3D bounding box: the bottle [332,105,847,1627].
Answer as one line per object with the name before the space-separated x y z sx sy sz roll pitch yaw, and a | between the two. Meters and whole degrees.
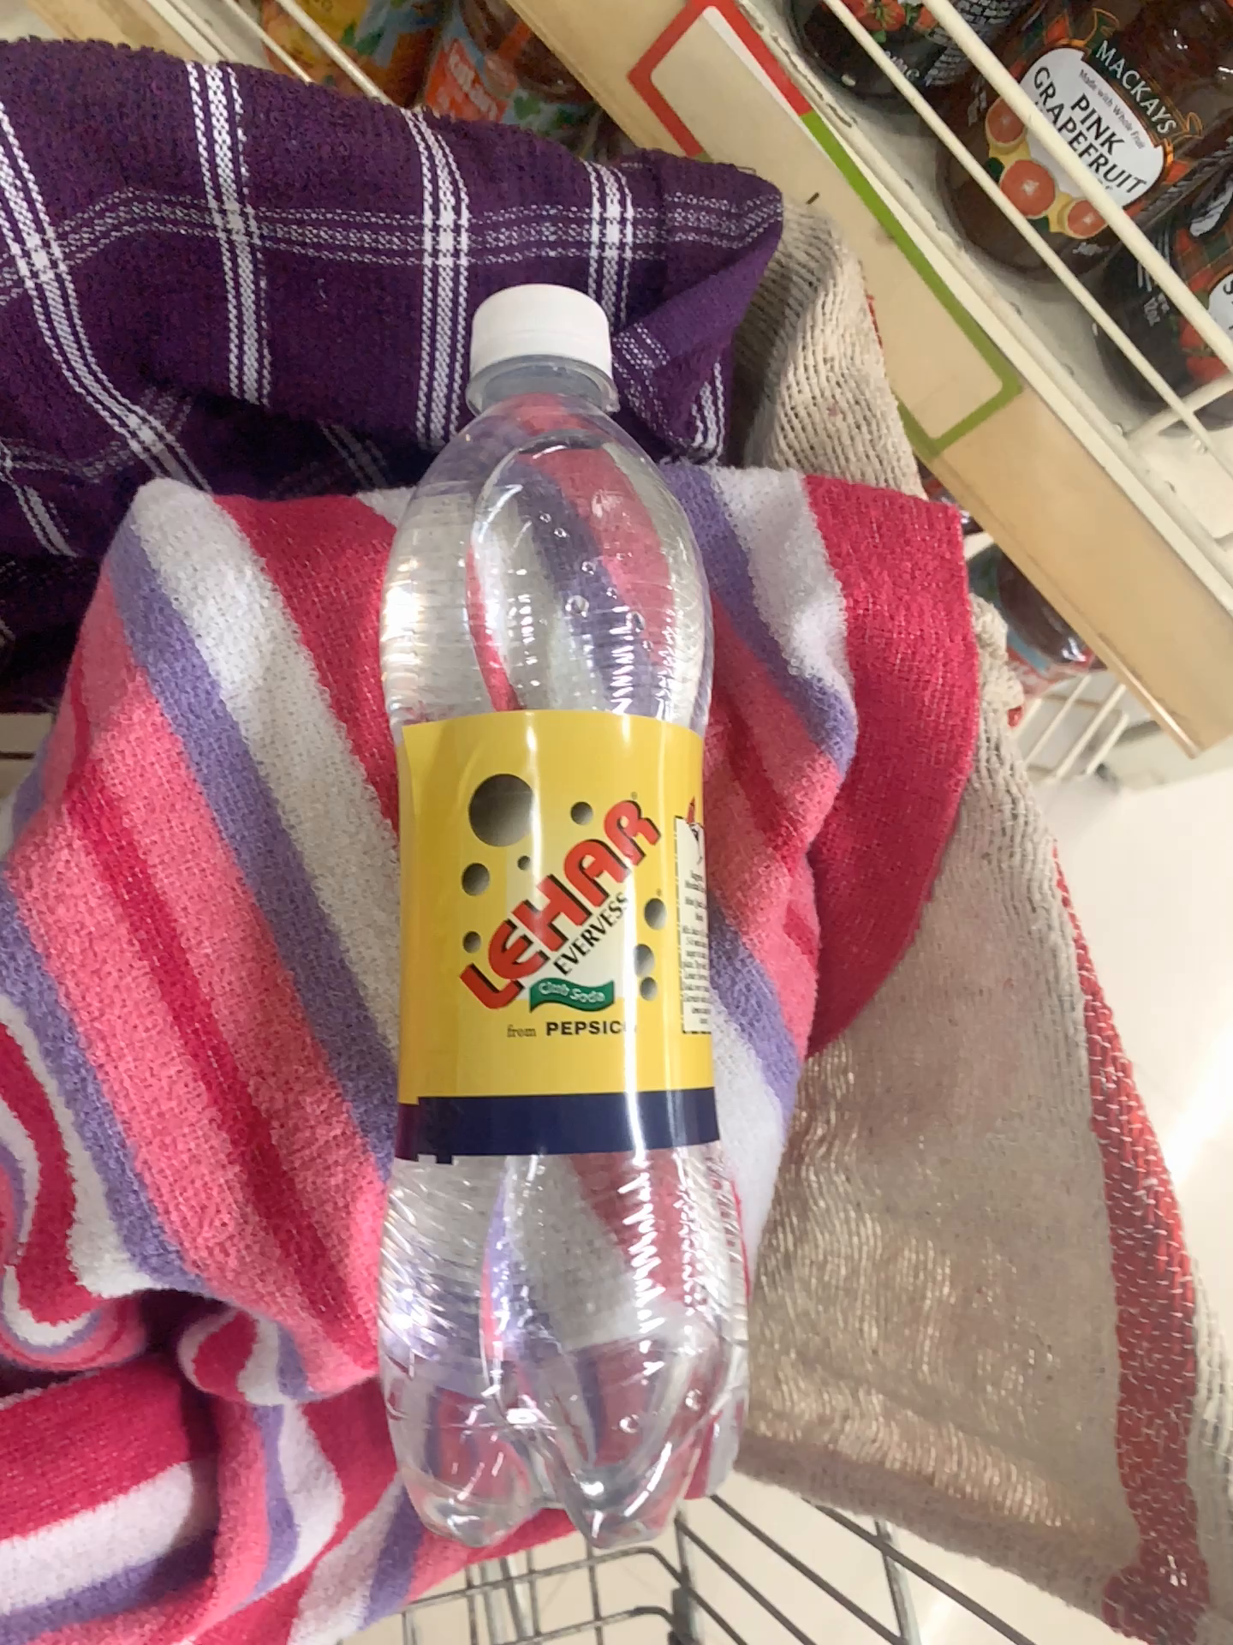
bottle | -0.013 0.001 0.243 0.070 0.070 0.240 2 79 -22
